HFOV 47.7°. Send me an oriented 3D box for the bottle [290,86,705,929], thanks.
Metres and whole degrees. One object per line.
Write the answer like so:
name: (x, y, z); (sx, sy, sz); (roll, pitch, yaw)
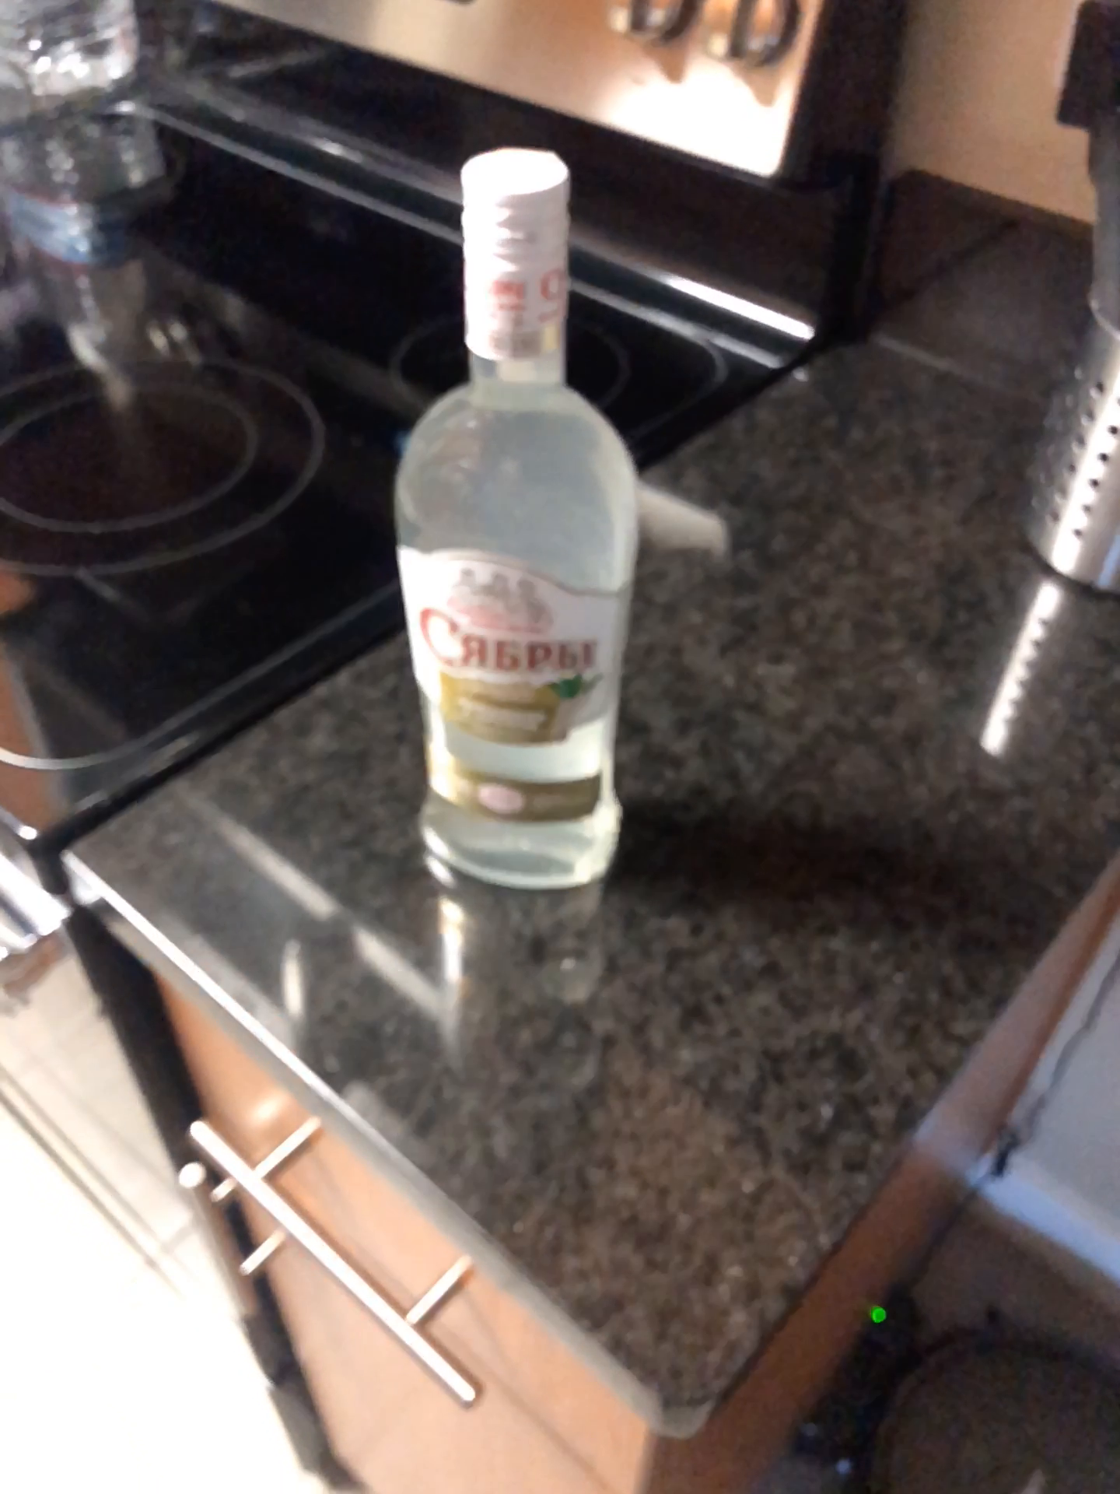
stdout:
bottle: (-0.017, -0.059, 0.419); (0.090, 0.269, 0.060); (16, 46, 15)
